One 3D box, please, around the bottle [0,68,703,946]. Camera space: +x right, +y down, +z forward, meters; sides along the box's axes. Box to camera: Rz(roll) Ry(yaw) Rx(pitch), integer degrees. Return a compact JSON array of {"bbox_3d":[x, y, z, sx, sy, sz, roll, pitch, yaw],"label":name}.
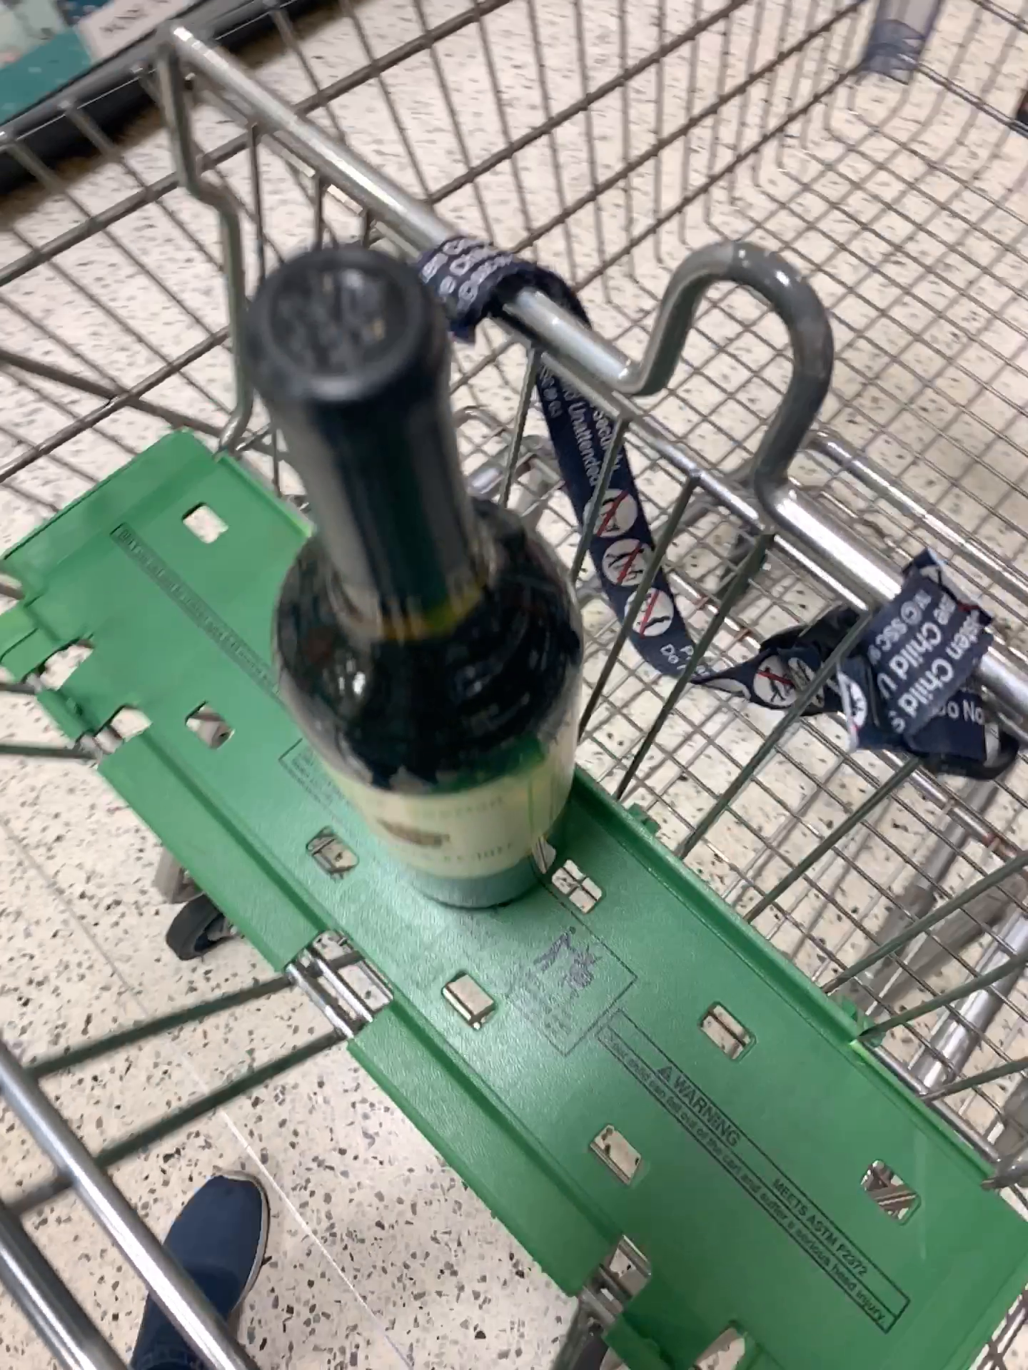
[{"bbox_3d":[-0.019,0.005,0.284,0.080,0.308,0.070,15,70,7],"label":"bottle"}]
